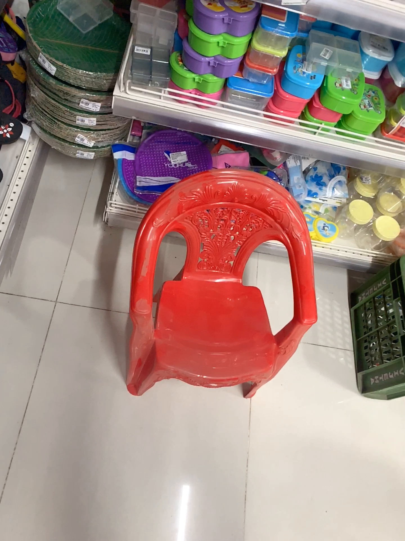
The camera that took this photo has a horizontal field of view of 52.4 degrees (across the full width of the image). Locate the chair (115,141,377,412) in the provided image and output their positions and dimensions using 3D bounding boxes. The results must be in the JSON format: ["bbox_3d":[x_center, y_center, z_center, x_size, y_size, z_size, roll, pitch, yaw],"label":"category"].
[{"bbox_3d":[0.035,0.069,0.932,0.410,0.500,0.410,6,65,-9],"label":"chair"}]
